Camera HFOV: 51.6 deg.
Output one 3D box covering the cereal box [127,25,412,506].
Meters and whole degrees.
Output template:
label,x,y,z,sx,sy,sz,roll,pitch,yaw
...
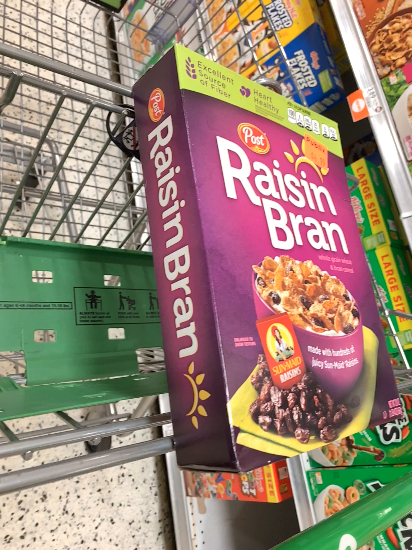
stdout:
label,x,y,z,sx,sy,sz,roll,pitch,yaw
cereal box,0.061,-0.012,0.326,0.211,0.059,0.281,5,70,-41
